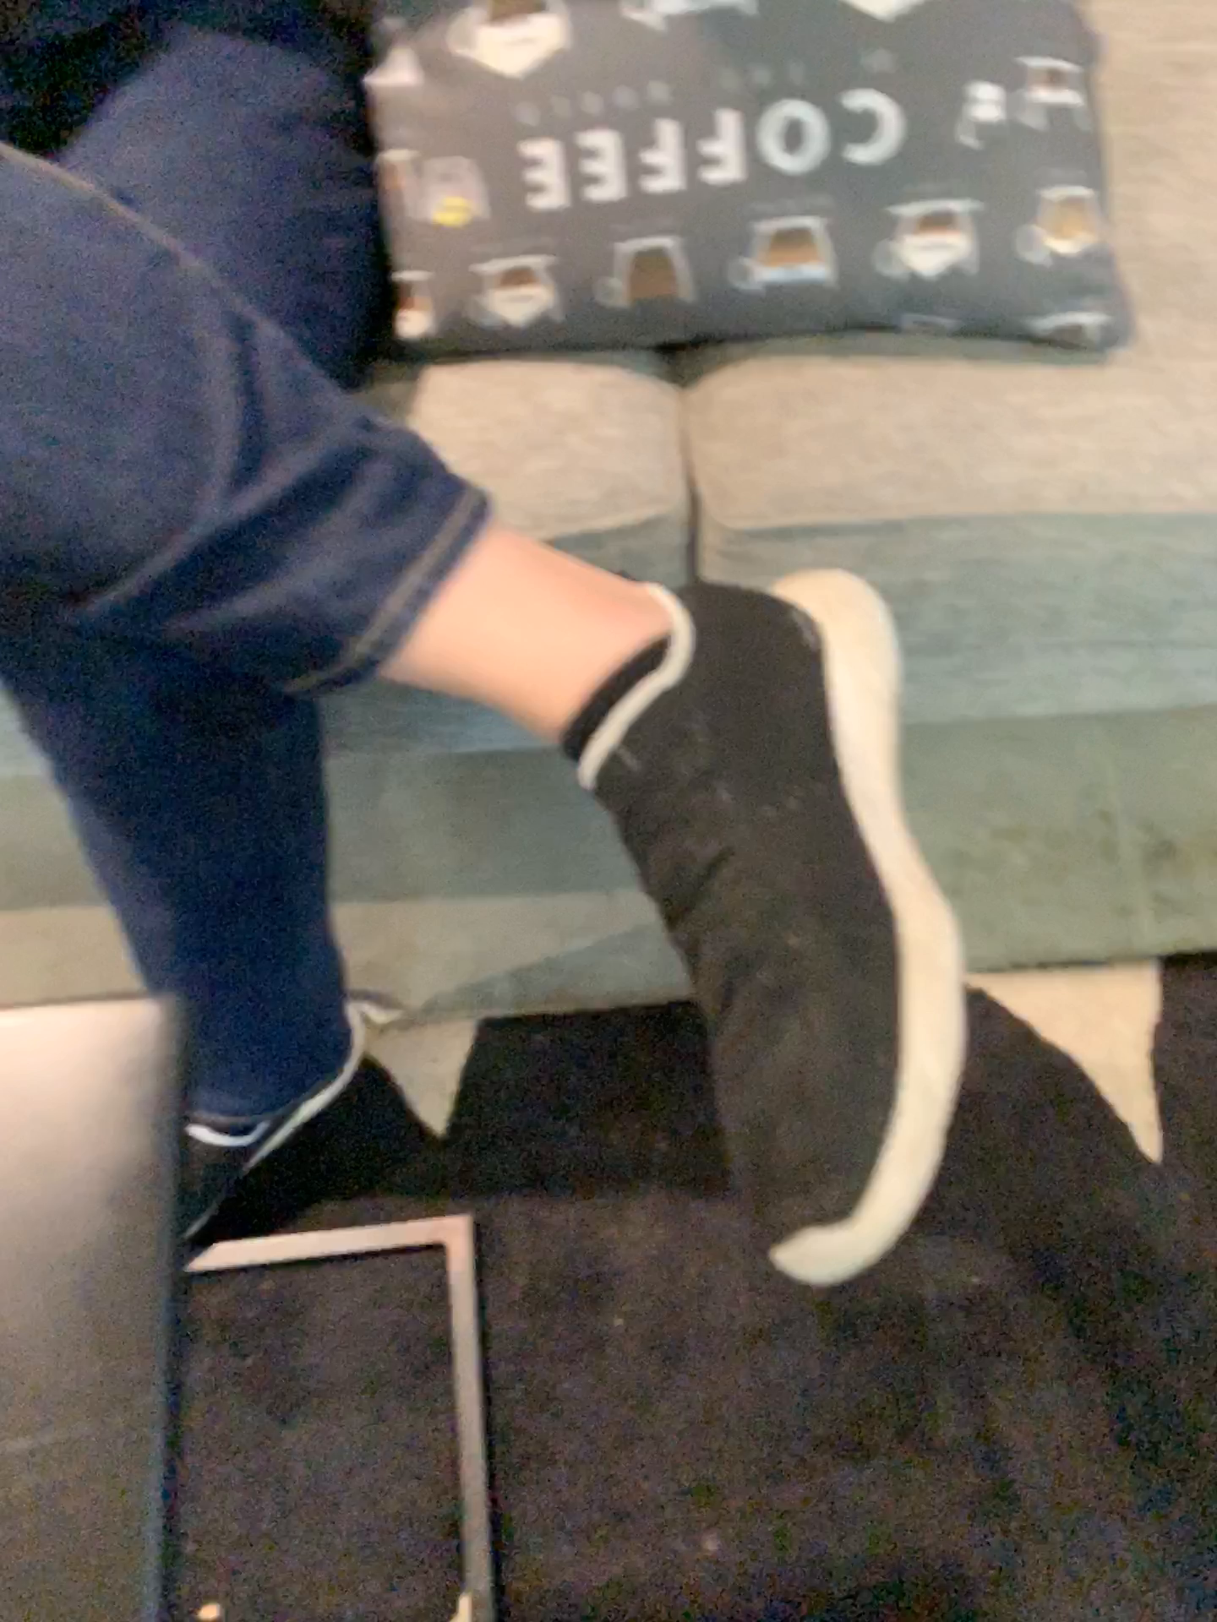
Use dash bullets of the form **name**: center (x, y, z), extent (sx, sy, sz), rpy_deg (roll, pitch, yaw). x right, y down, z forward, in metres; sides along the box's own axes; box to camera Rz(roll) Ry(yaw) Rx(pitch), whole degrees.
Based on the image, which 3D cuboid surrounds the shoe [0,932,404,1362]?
- **shoe**: center (-0.306, 0.231, 0.862), extent (0.303, 0.074, 0.116), rpy_deg (-37, 71, -14)

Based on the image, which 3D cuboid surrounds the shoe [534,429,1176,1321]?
- **shoe**: center (0.055, 0.013, 0.417), extent (0.132, 0.112, 0.276), rpy_deg (6, 52, -14)
